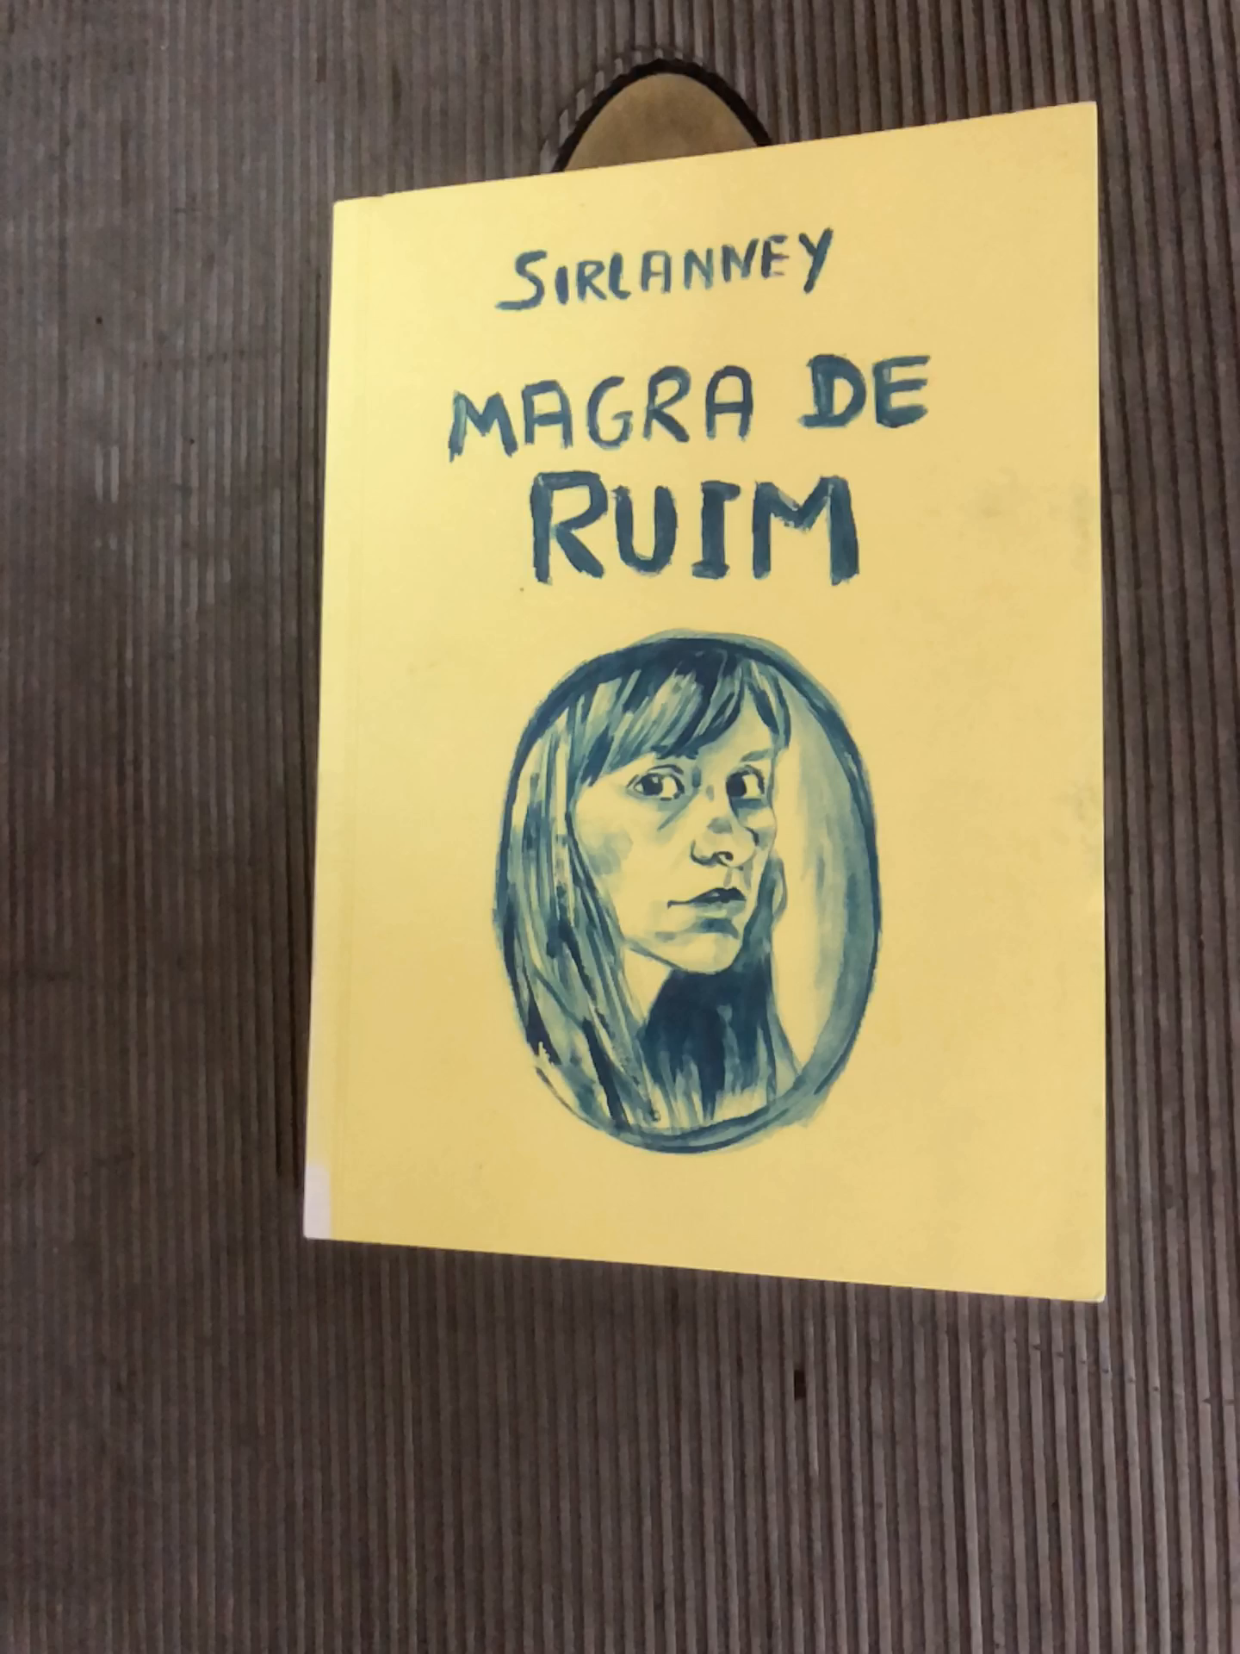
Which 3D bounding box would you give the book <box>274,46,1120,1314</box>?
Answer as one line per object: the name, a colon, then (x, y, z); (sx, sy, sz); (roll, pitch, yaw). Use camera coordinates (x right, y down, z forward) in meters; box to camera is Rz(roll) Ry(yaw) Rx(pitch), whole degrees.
book: (0.012, -0.027, 0.256); (0.150, 0.020, 0.210); (1, 87, 15)
